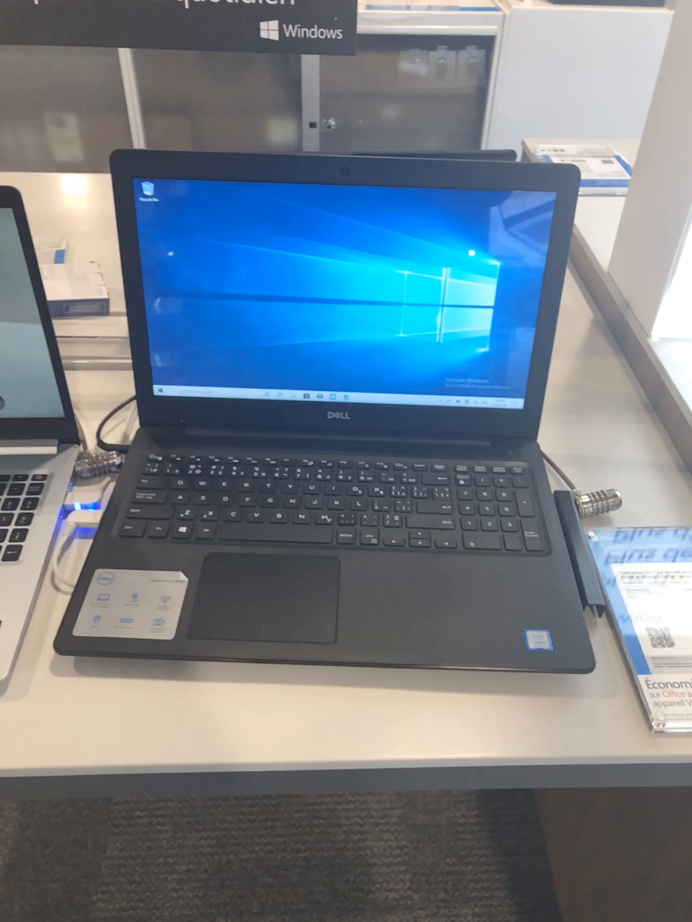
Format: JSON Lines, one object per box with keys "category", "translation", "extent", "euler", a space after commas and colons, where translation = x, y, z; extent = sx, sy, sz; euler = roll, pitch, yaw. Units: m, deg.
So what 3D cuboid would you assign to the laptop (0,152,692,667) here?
{"category": "laptop", "translation": [-0.011, -0.053, 0.573], "extent": [0.368, 0.230, 0.311], "euler": [2, 40, 0]}
